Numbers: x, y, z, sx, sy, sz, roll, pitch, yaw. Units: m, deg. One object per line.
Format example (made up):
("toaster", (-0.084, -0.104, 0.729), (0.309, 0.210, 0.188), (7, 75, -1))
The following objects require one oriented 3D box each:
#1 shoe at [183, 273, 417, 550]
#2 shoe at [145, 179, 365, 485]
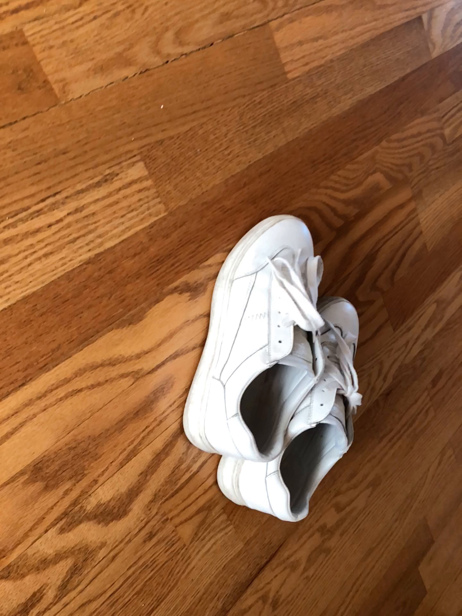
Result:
("shoe", (0.081, 0.095, 0.550), (0.103, 0.106, 0.260), (45, 68, -31))
("shoe", (0.026, 0.021, 0.505), (0.103, 0.104, 0.260), (25, 79, -36))
